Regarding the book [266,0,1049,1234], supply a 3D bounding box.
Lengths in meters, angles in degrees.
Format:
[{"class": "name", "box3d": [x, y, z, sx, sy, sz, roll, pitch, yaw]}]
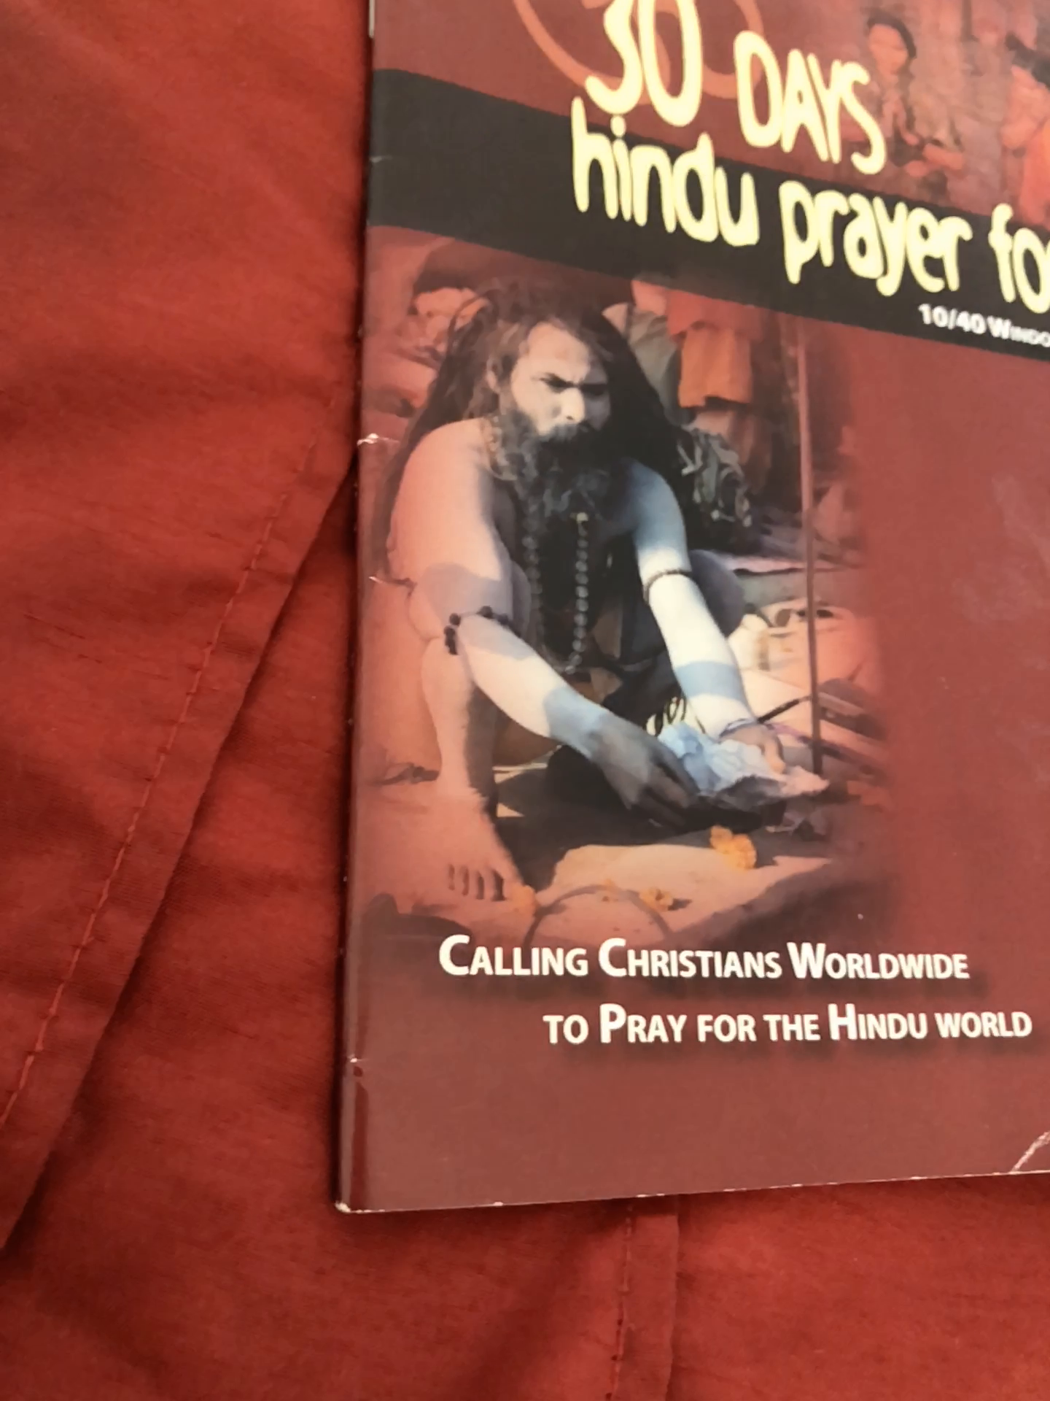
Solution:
[{"class": "book", "box3d": [0.039, -0.041, 0.176, 0.142, 0.010, 0.210, 5, 72, -20]}]
